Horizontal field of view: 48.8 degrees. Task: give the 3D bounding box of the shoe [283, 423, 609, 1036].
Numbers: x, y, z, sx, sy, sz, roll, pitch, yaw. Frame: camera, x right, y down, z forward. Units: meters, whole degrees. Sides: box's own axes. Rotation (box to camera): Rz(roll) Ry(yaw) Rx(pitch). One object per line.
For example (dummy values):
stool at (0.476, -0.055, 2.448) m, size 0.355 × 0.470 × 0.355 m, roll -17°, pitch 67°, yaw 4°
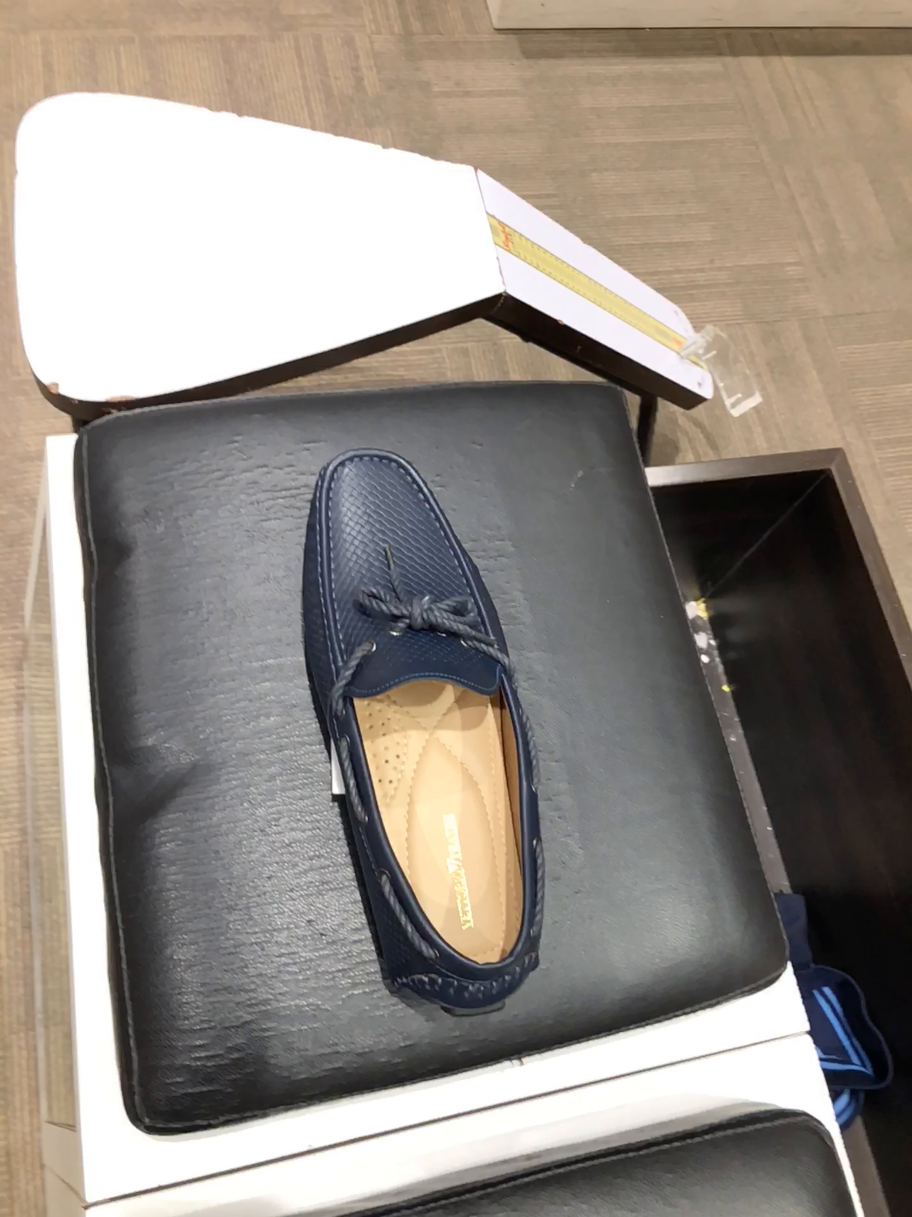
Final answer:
shoe at (-0.016, 0.052, 0.488) m, size 0.100 × 0.080 × 0.271 m, roll -7°, pitch 69°, yaw -11°
